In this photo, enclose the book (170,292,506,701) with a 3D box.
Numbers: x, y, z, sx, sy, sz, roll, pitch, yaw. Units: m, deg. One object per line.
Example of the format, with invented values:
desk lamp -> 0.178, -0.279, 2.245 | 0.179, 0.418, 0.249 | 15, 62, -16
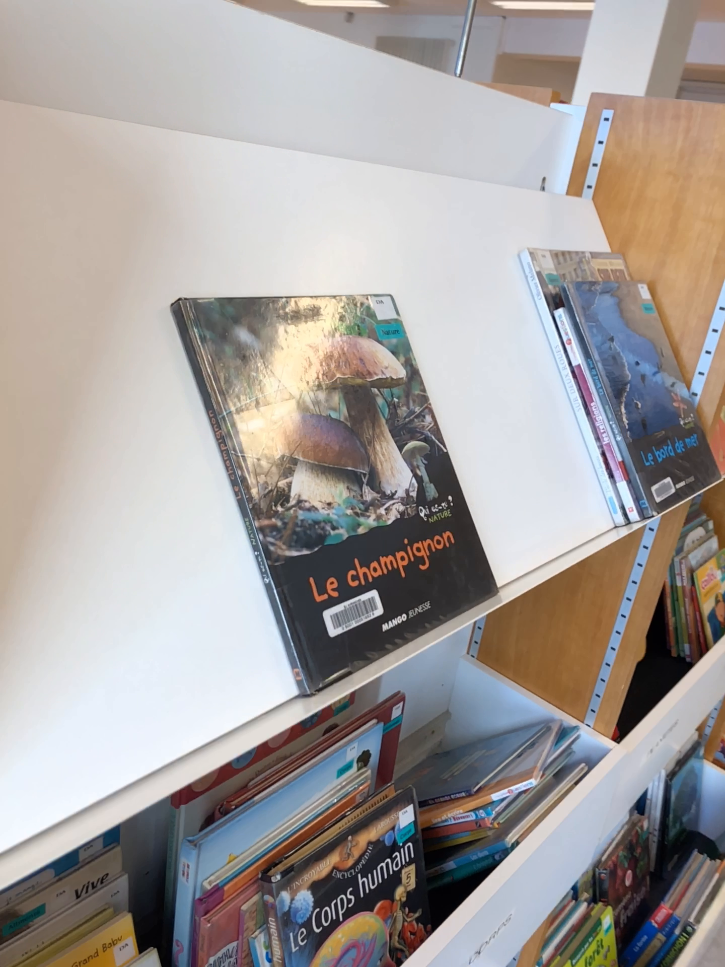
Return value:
book -> -0.003, -0.010, 0.538 | 0.020, 0.242, 0.203 | -21, -3, 42
